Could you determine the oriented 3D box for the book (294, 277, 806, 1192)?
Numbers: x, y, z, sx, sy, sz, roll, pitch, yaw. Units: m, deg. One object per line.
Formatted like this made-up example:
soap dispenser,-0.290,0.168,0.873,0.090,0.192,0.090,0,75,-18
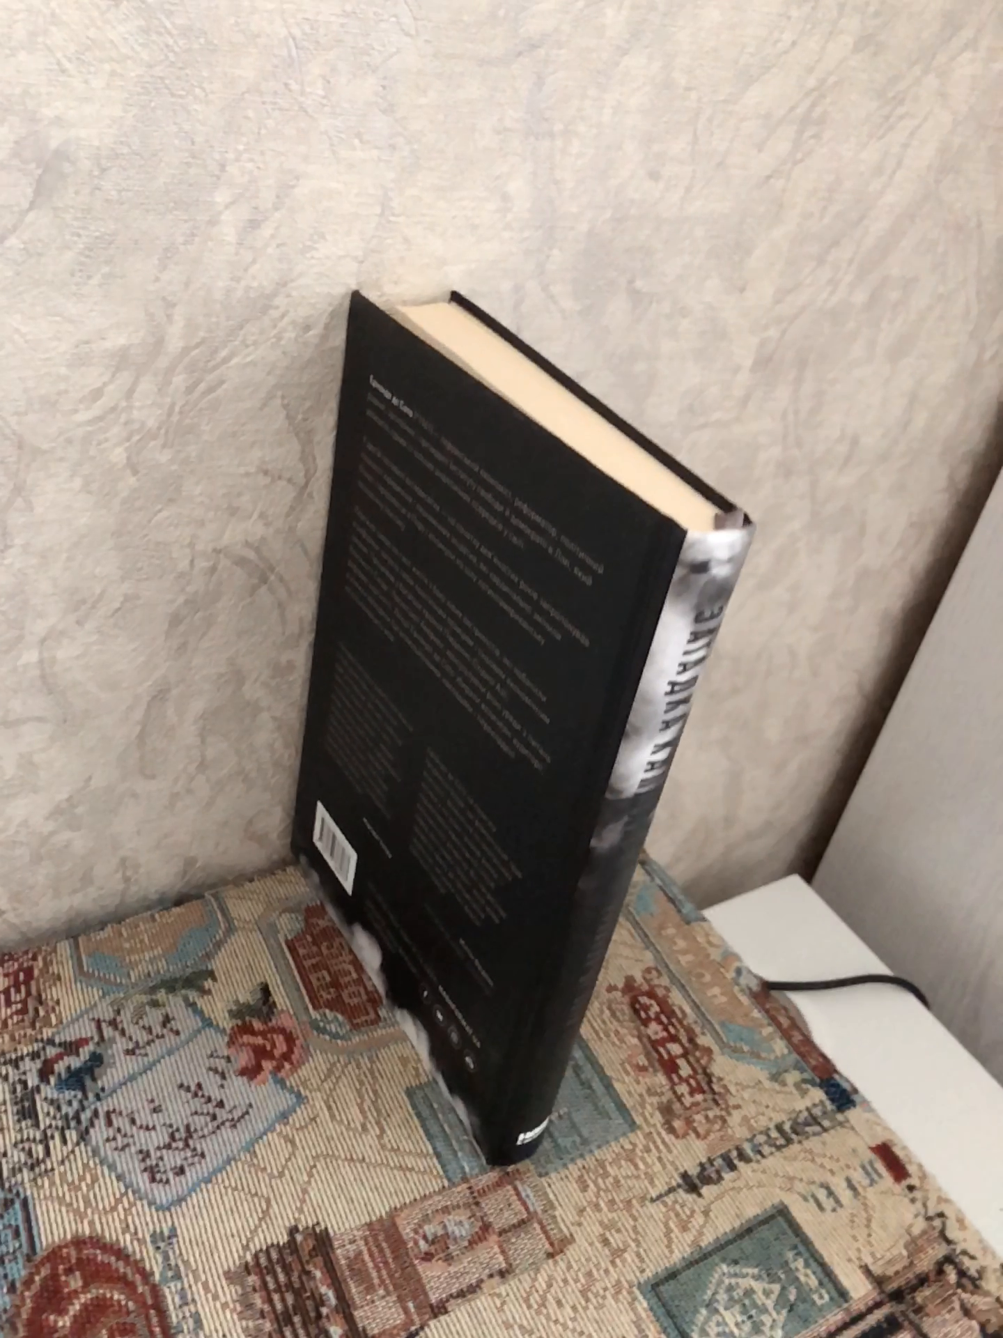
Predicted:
book,-0.009,0.019,0.300,0.035,0.200,0.138,-9,40,-28
